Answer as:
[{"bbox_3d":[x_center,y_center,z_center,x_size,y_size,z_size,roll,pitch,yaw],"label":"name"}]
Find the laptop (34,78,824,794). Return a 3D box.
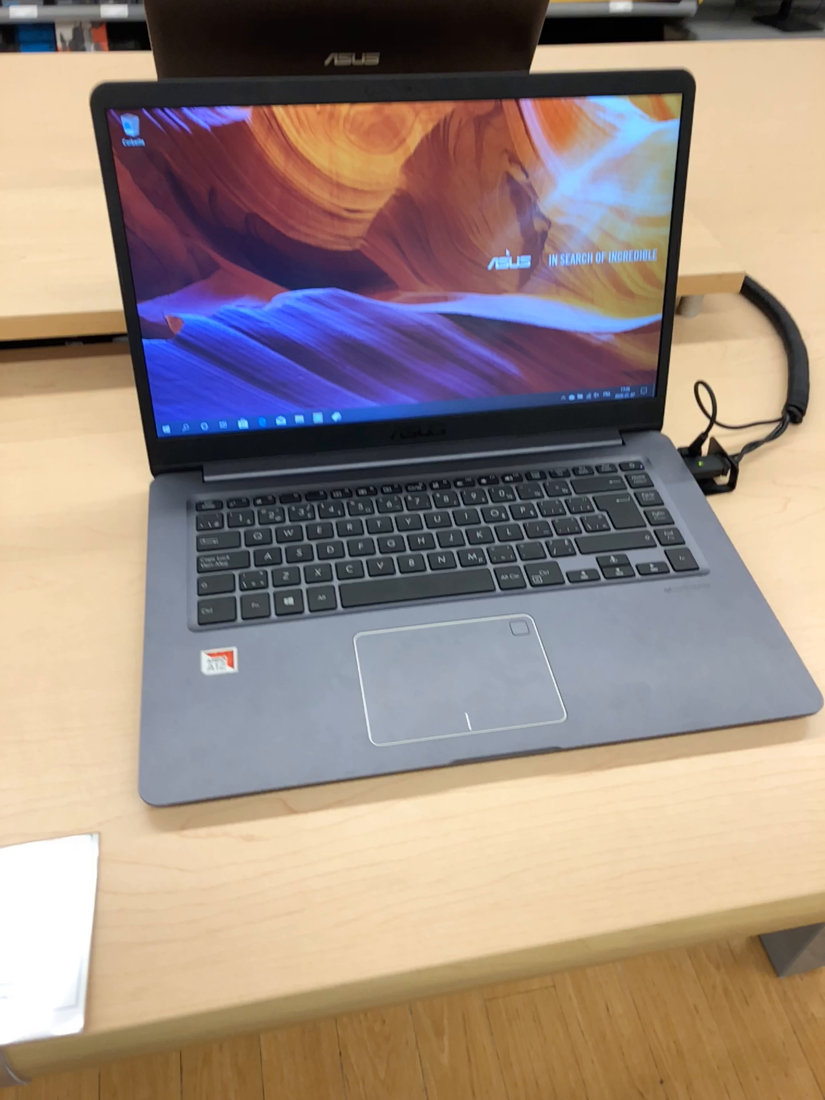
[{"bbox_3d":[0.022,-0.087,0.508,0.361,0.223,0.318,-6,46,-9],"label":"laptop"}]
